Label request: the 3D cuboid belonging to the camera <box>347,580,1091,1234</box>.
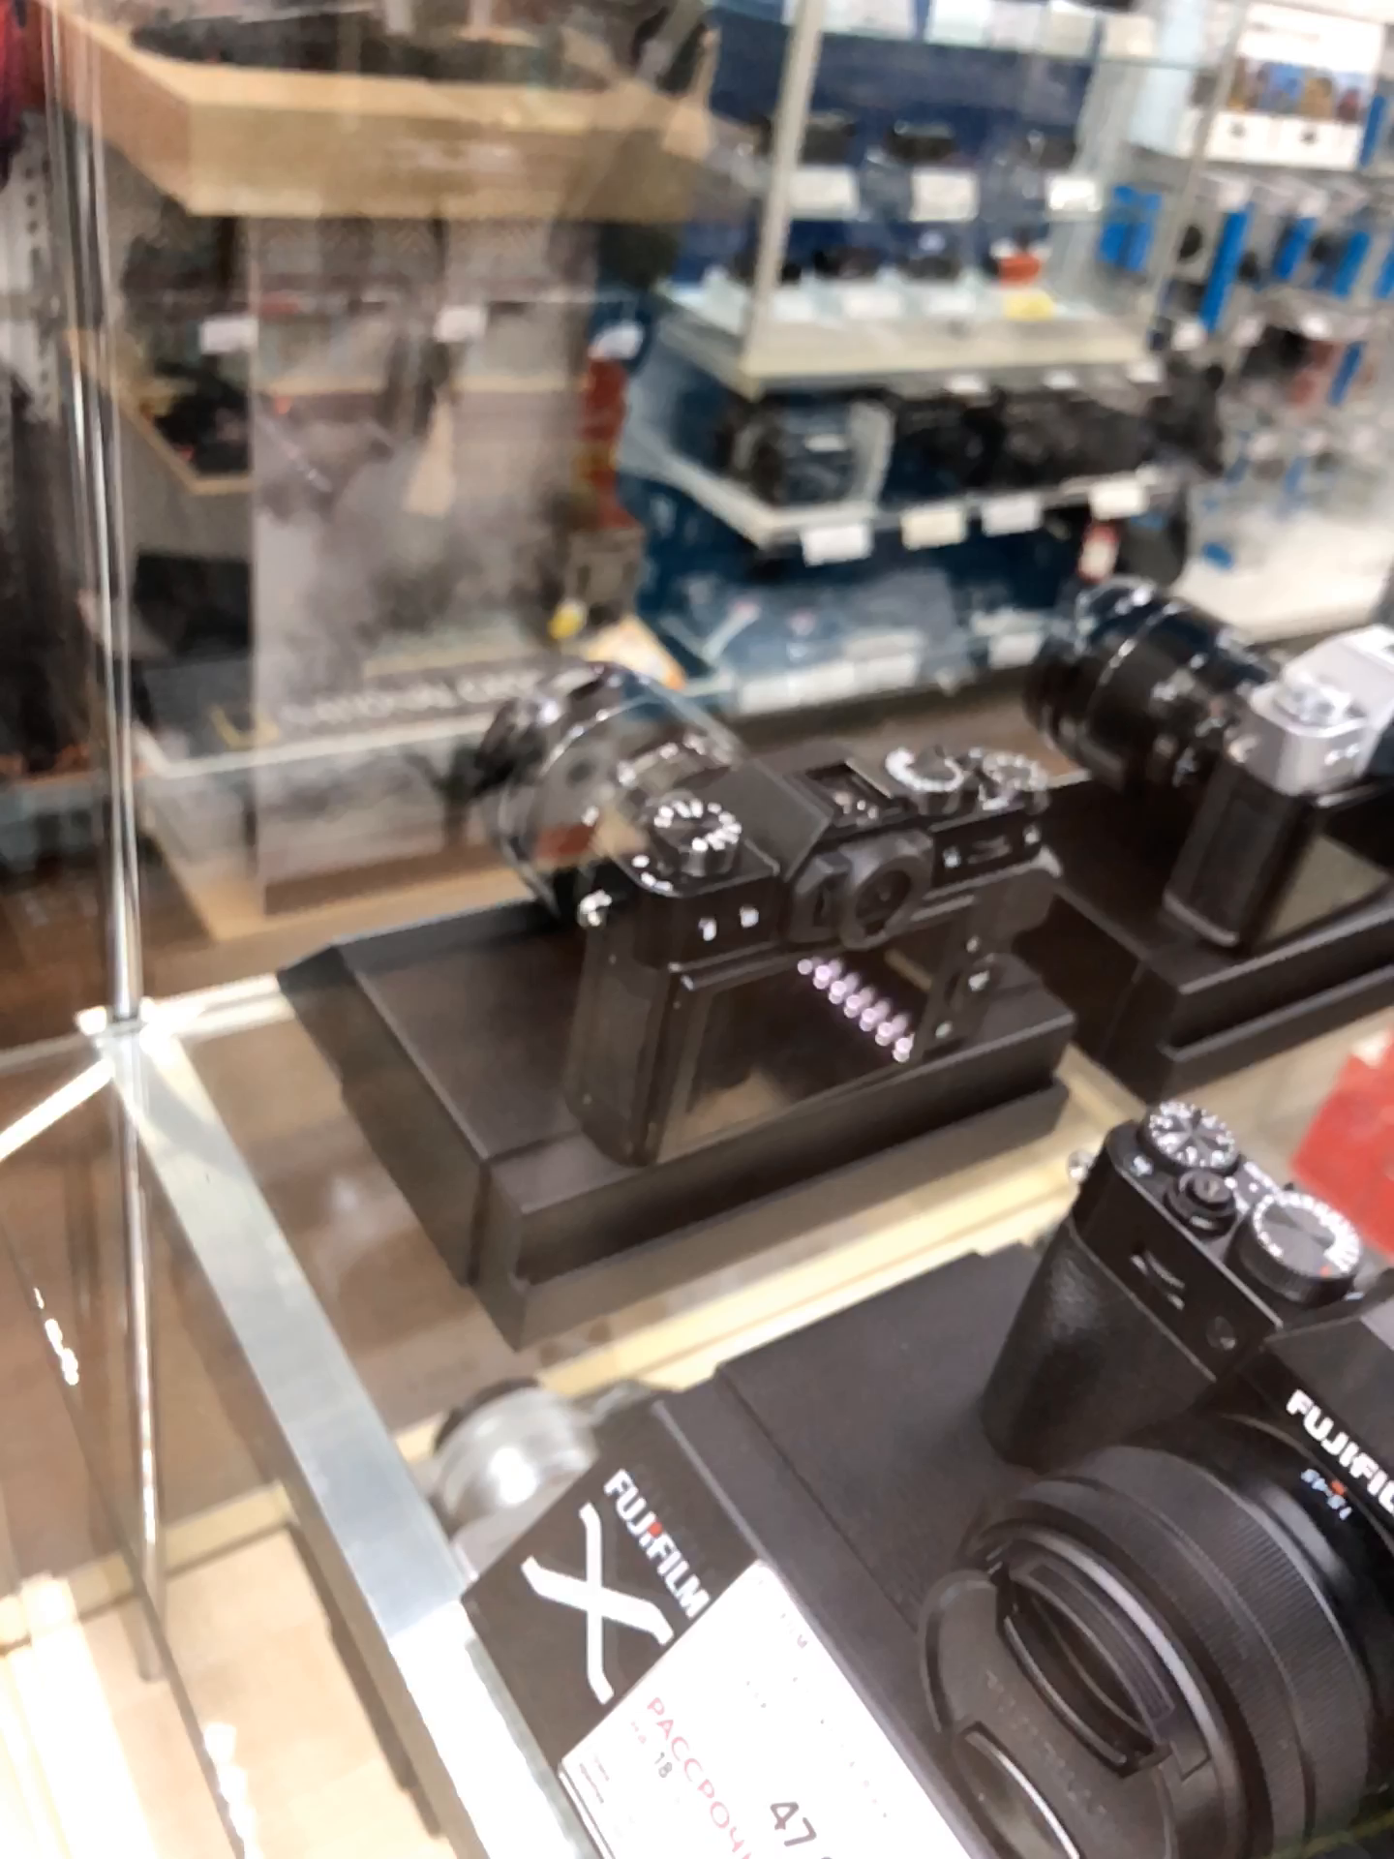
[{"bbox_3d":[-0.001,-0.015,0.379,0.121,0.081,0.121,-14,43,-33],"label":"camera"}]
